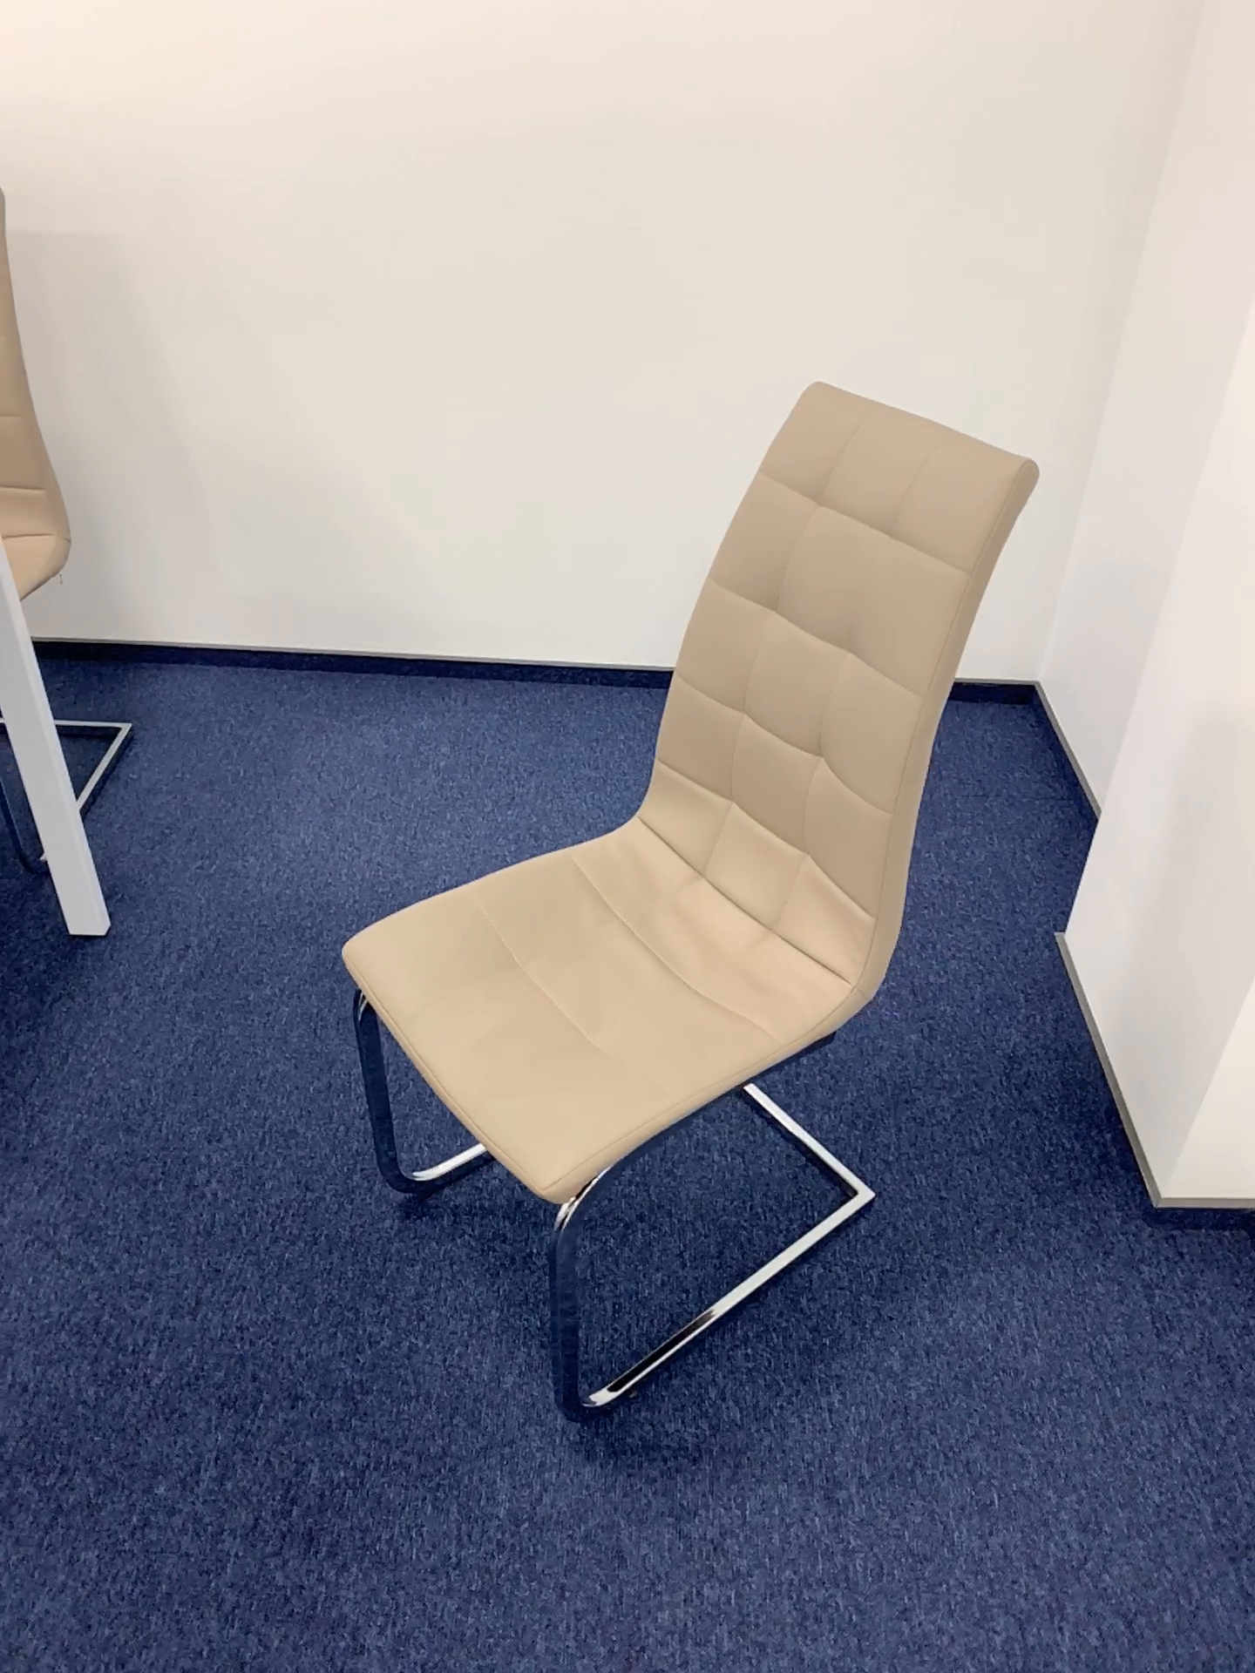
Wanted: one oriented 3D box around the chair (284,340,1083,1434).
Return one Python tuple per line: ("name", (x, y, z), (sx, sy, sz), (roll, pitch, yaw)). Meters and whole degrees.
("chair", (0.033, 0.061, 1.390), (0.531, 0.984, 0.441), (-23, 43, -30))
